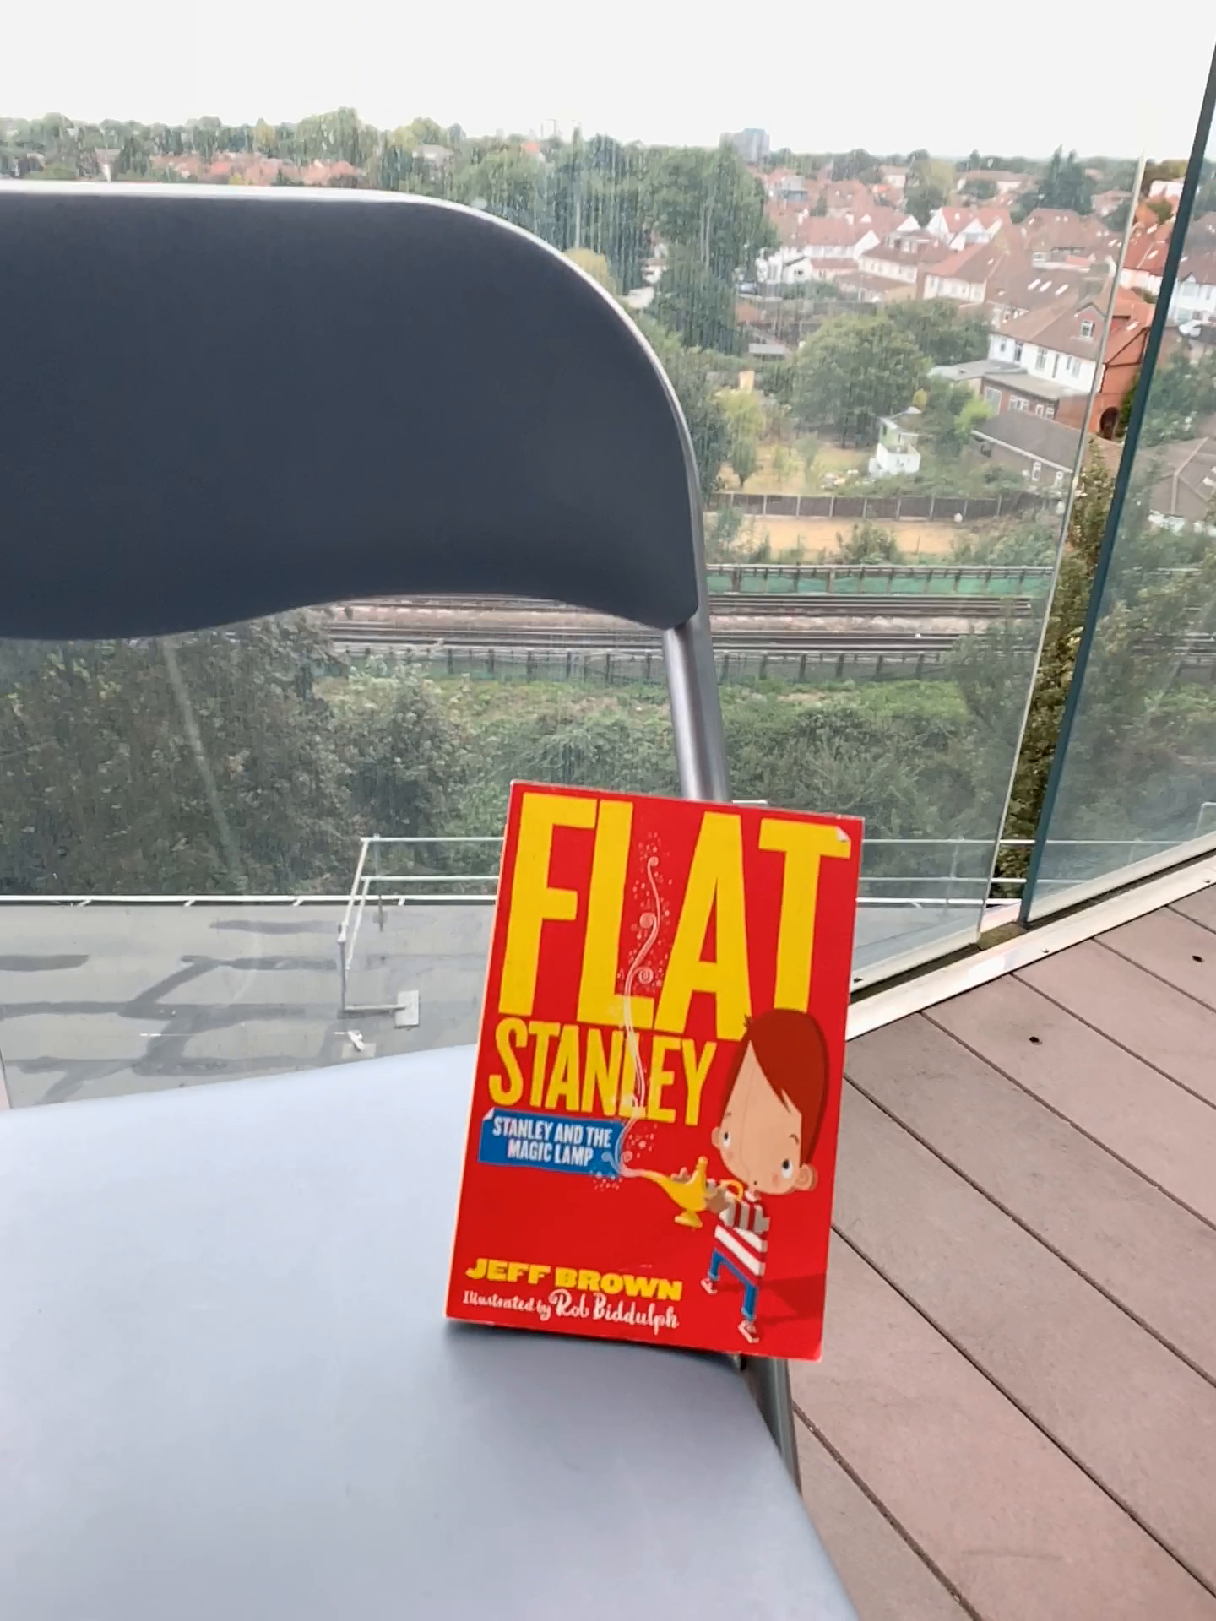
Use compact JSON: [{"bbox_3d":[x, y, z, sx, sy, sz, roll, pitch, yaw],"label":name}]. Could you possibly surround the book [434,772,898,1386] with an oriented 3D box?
[{"bbox_3d":[0.022,0.088,0.433,0.140,0.191,0.020,5,-7,6],"label":"book"}]
